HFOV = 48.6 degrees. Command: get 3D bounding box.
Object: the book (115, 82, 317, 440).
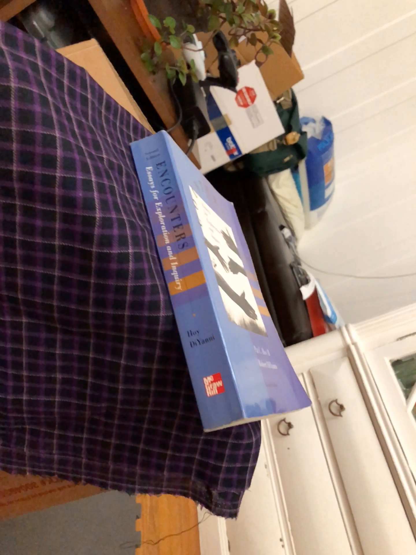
[{"bbox_3d":[0.016,-0.004,0.409,0.200,0.040,0.260,32,38,-65],"label":"book"}]
